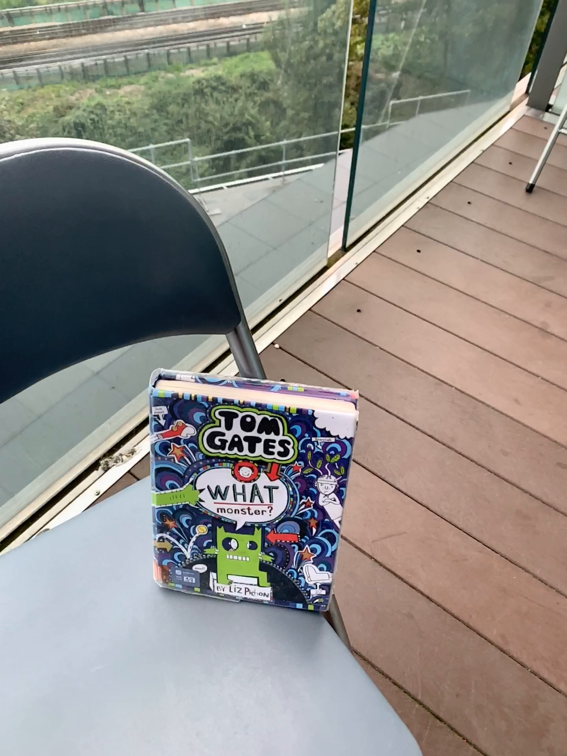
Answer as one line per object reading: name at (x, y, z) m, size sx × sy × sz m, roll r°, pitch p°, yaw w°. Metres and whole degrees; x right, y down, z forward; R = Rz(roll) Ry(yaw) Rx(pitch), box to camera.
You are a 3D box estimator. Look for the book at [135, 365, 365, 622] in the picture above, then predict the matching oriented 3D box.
book at (-0.027, 0.098, 0.468) m, size 0.160 × 0.199 × 0.050 m, roll 7°, pitch 30°, yaw 5°
